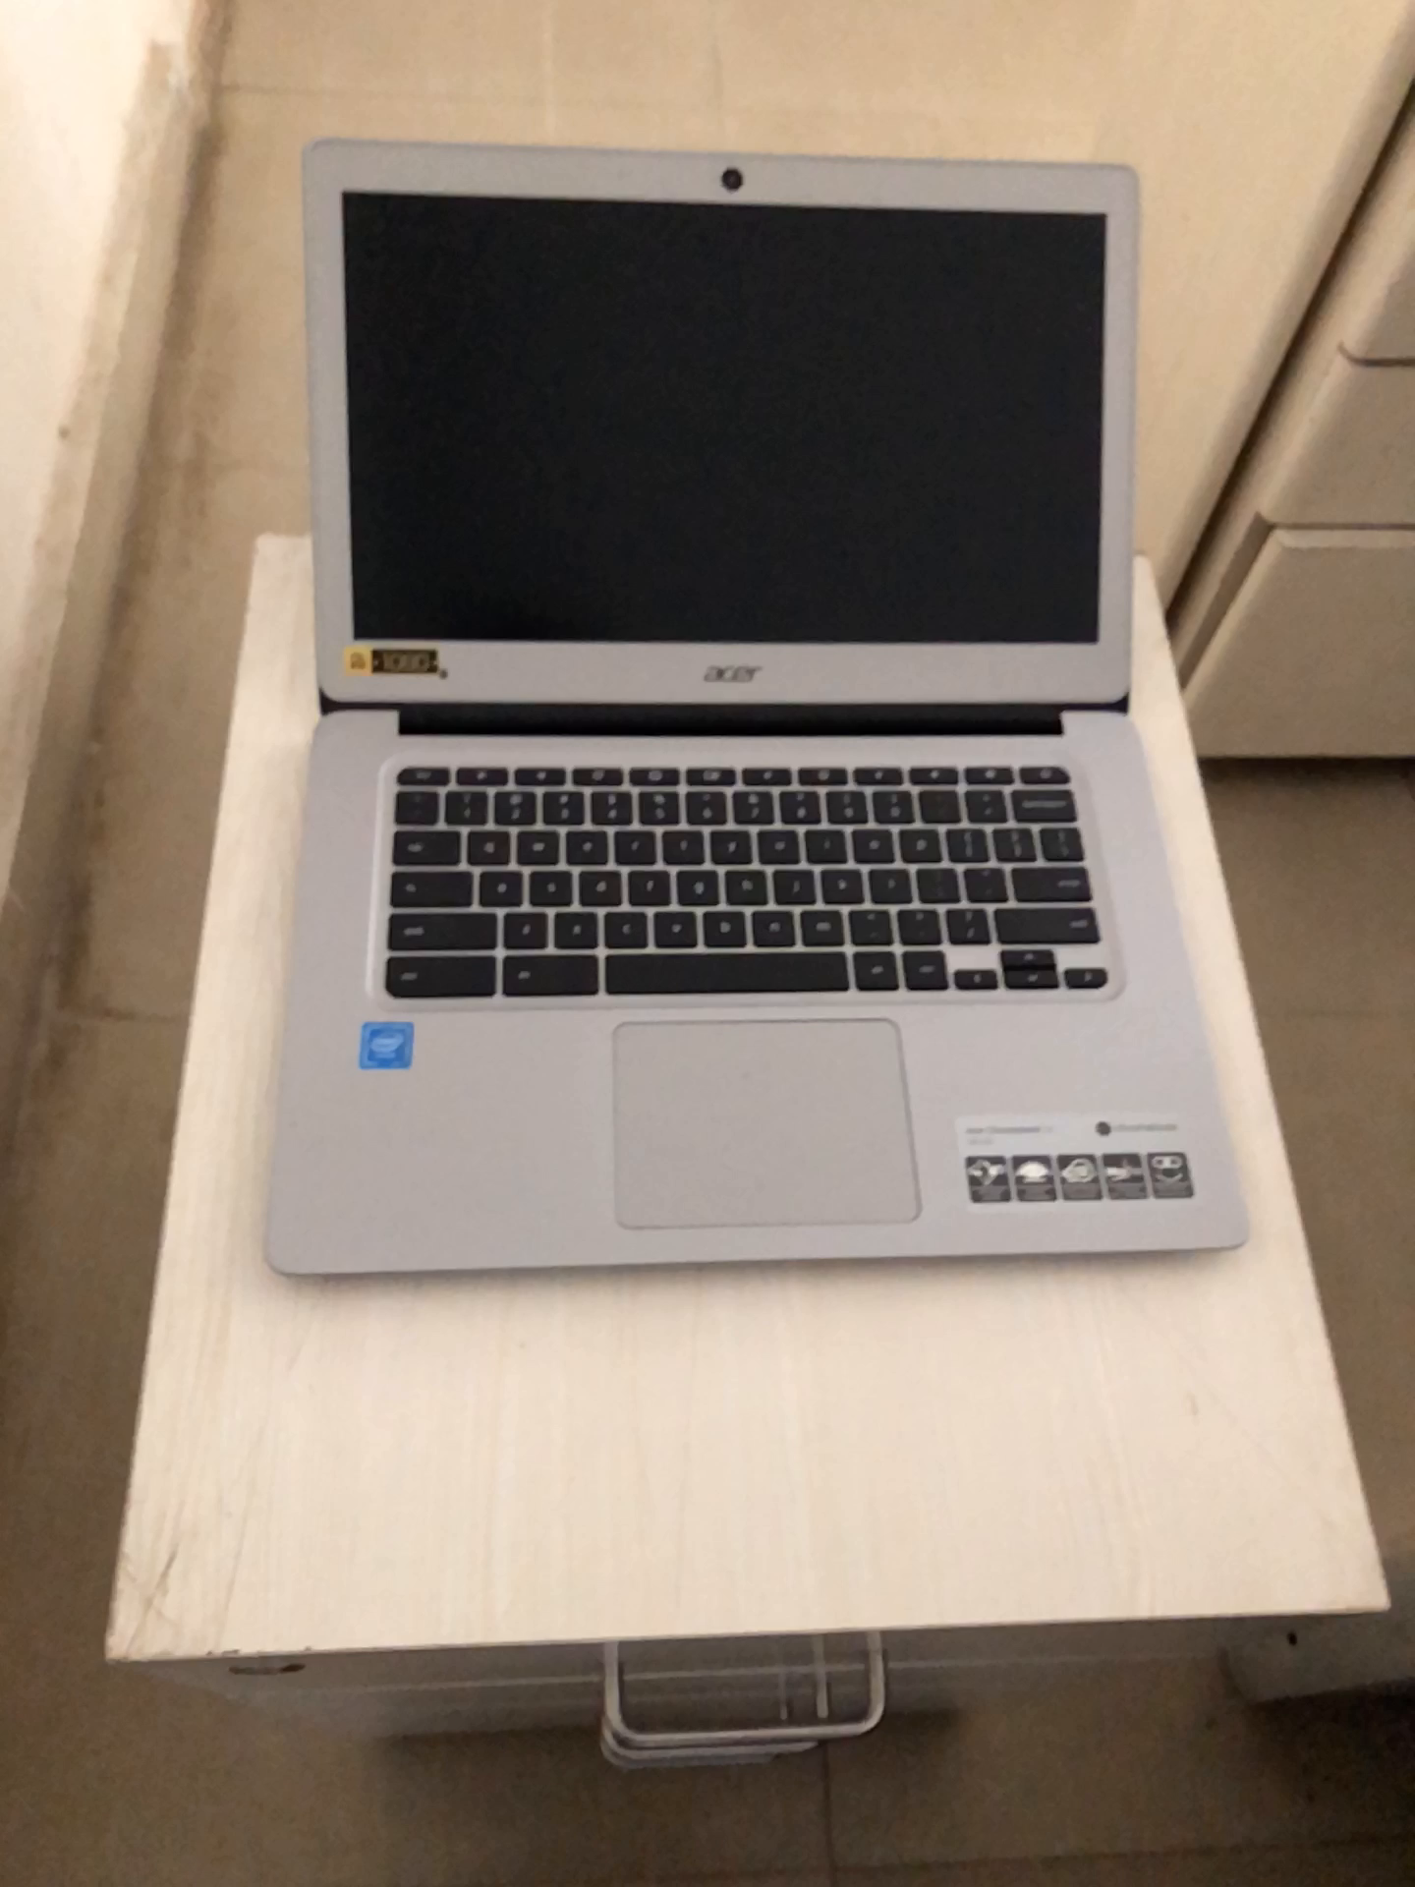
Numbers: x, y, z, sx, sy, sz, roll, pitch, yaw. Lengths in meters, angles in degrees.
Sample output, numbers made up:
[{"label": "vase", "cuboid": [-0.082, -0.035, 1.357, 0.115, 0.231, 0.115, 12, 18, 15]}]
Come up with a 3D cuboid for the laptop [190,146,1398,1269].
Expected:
[{"label": "laptop", "cuboid": [0.016, -0.102, 0.580, 0.332, 0.126, 0.409, 0, 61, -5]}]
